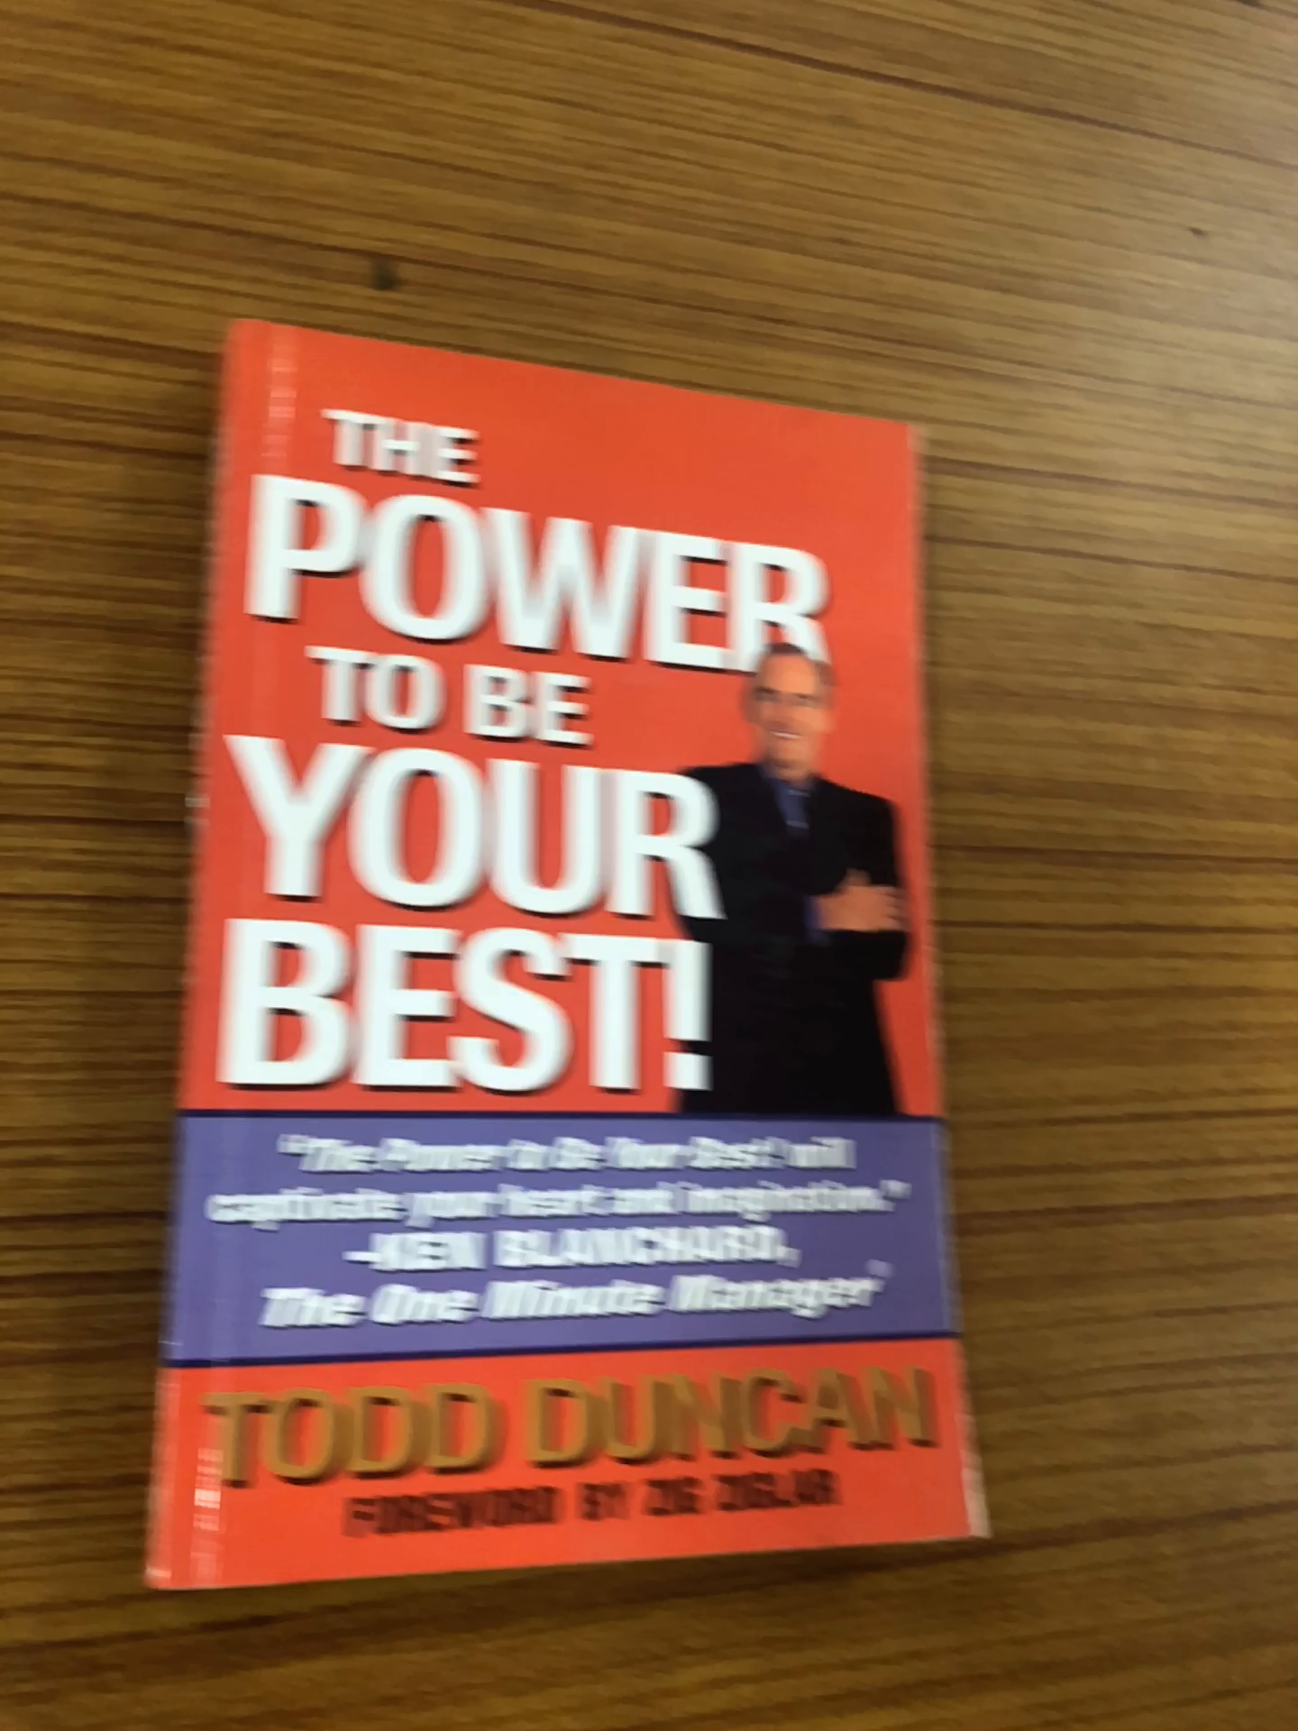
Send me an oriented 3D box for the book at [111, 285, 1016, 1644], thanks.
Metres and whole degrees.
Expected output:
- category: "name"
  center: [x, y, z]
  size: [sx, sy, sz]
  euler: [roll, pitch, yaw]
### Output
- category: "book"
  center: [-0.011, 0.013, 0.271]
  size: [0.150, 0.030, 0.220]
  euler: [4, 78, -17]
